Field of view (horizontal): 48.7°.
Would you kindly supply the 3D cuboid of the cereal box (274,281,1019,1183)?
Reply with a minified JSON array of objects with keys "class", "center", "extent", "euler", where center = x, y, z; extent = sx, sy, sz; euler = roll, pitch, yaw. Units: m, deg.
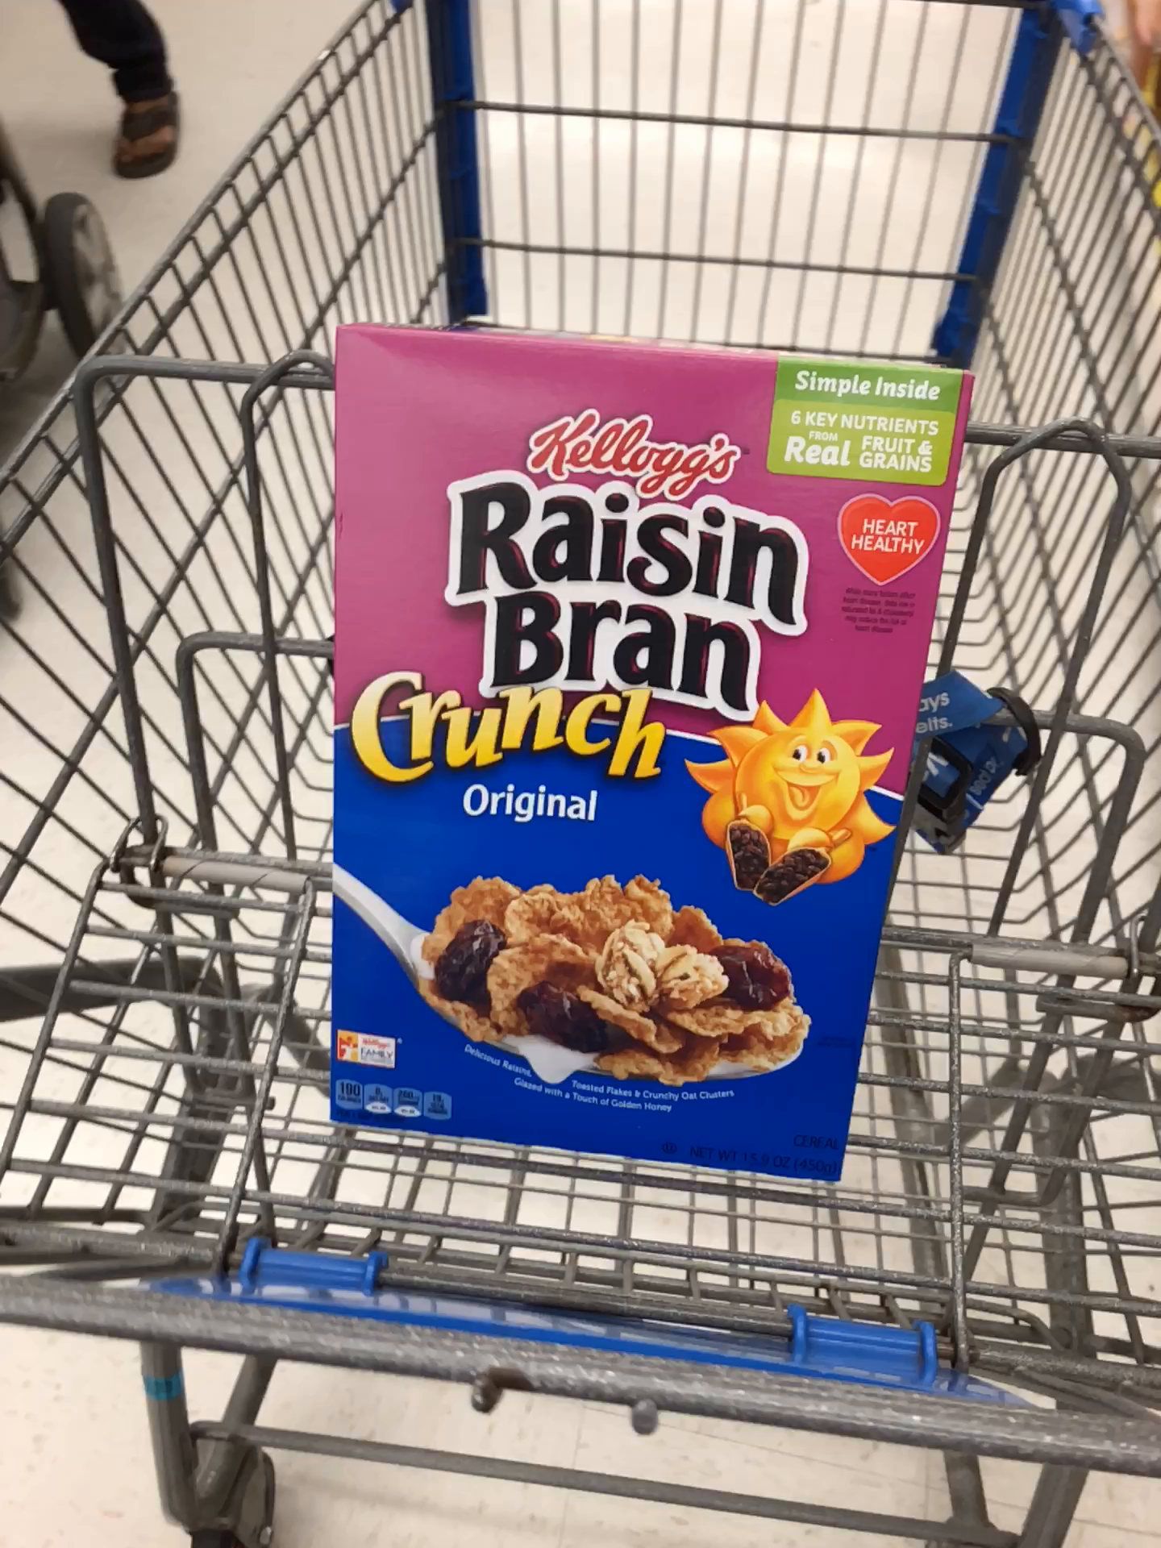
[{"class":"cereal box","center":[0.010,-0.009,0.435],"extent":[0.210,0.280,0.060],"euler":[5,19,4]}]
